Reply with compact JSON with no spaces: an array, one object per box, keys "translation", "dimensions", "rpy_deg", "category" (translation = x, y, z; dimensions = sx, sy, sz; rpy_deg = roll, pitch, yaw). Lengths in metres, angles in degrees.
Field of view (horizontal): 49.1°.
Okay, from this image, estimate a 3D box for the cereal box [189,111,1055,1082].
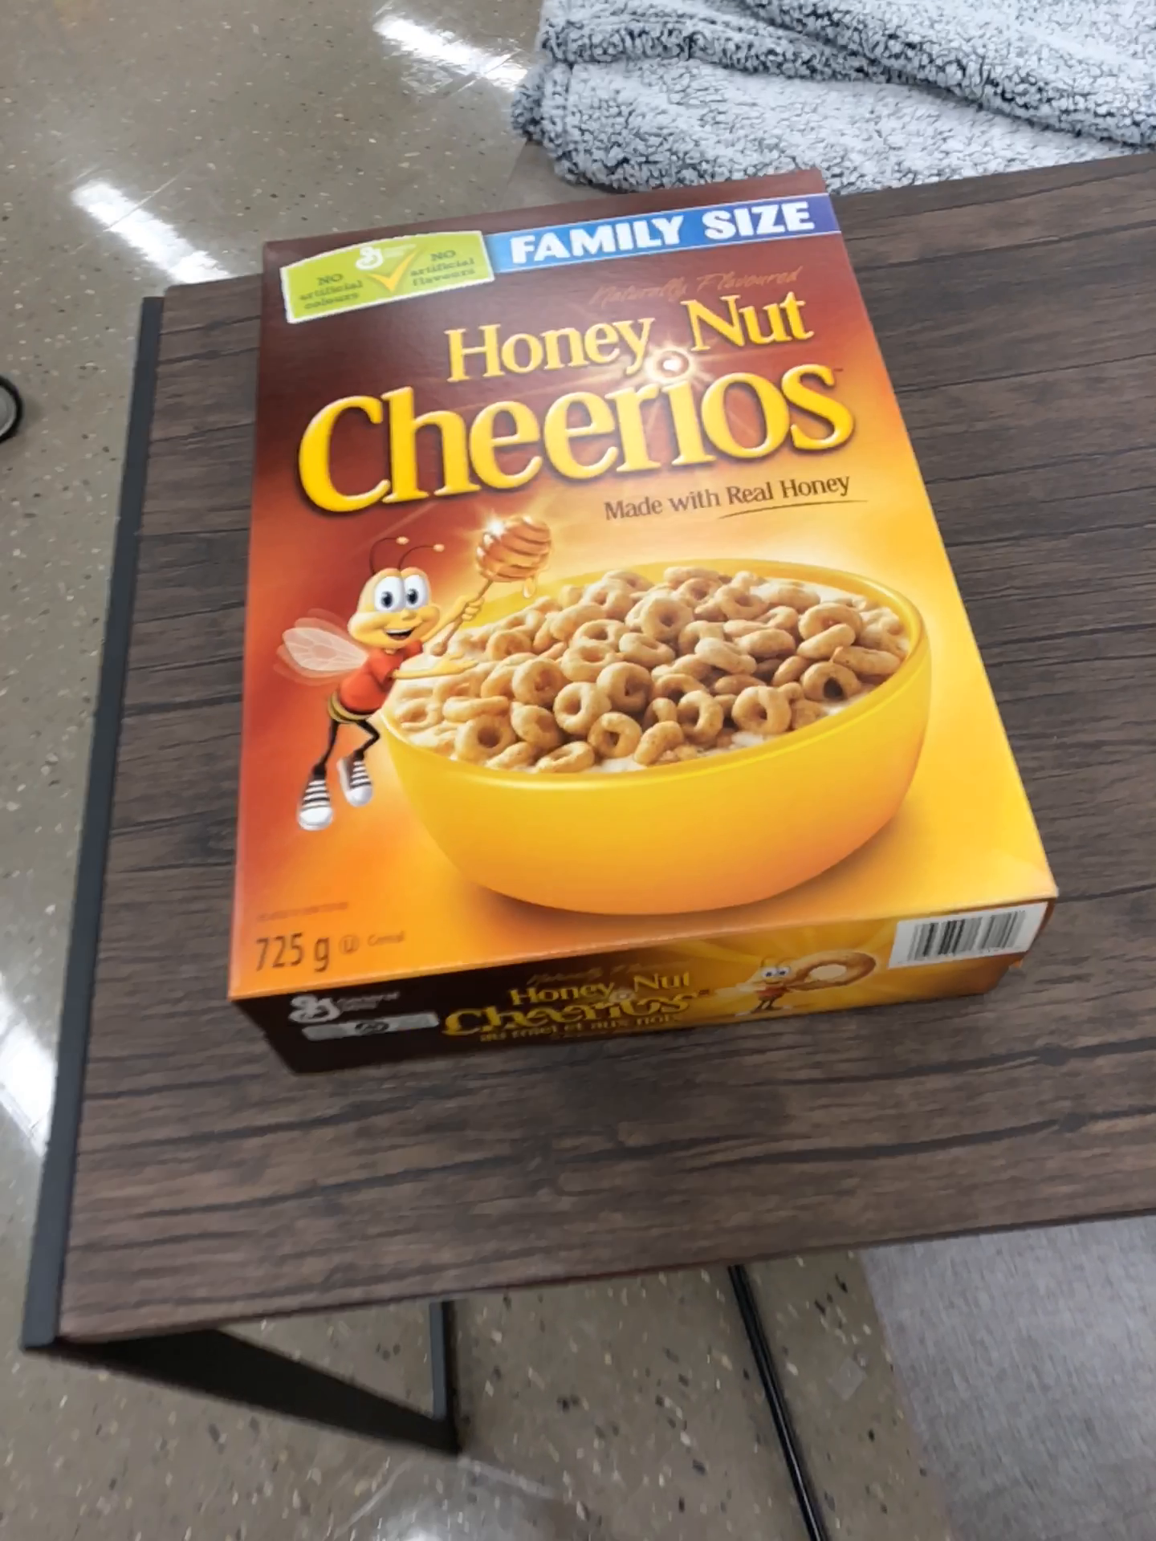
[{"translation":[-0.003,-0.091,0.496],"dimensions":[0.250,0.080,0.381],"rpy_deg":[-8,58,2],"category":"cereal box"}]
